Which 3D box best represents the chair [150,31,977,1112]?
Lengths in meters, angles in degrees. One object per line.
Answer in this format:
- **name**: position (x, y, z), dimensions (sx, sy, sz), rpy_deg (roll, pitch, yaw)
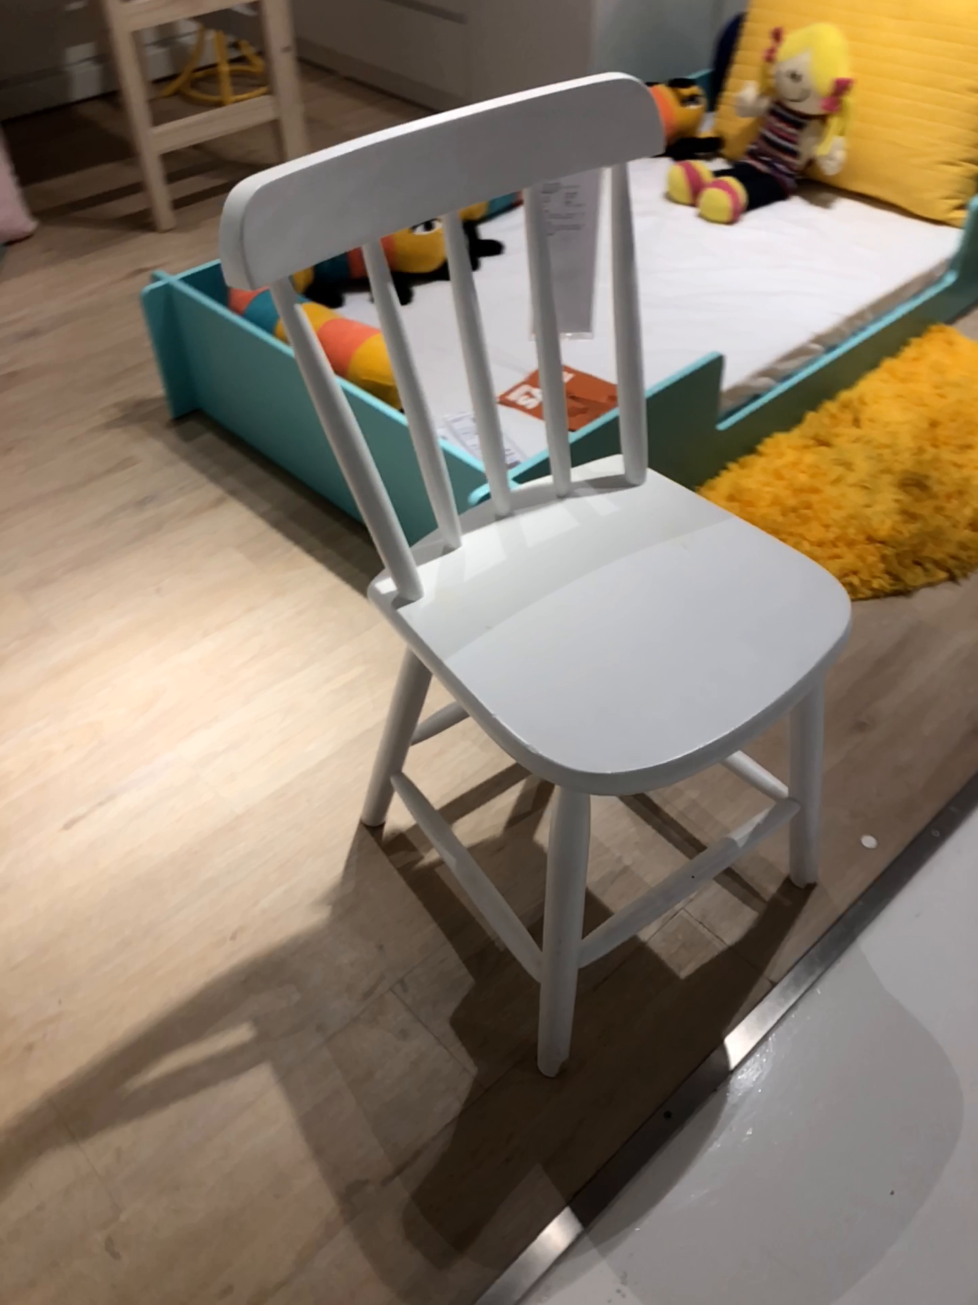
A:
- **chair**: position (0.081, -0.051, 0.974), dimensions (0.441, 0.755, 0.432), rpy_deg (-29, 50, -25)
